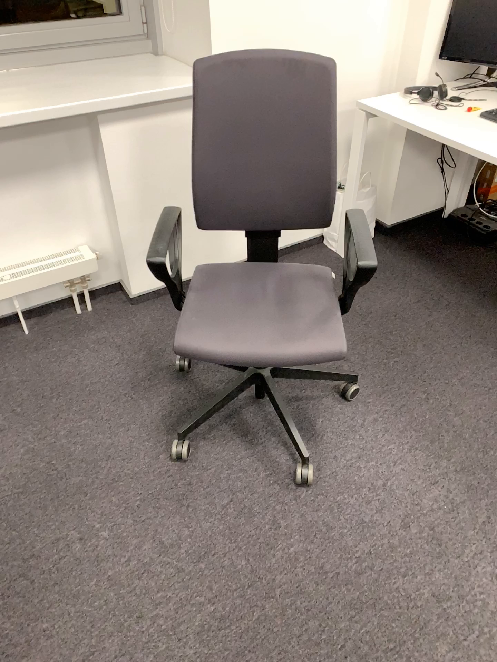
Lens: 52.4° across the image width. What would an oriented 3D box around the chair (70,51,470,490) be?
[{"bbox_3d":[0.051,-0.167,1.508,0.700,1.044,0.754,1,40,2],"label":"chair"}]
